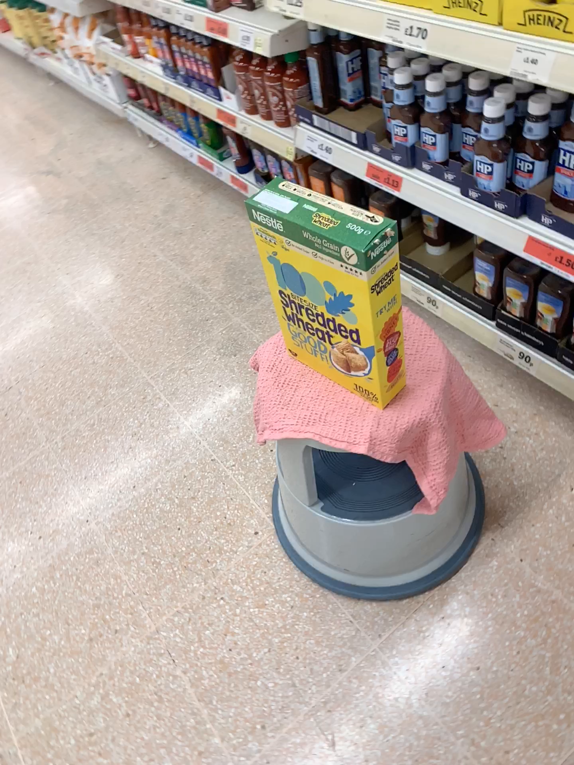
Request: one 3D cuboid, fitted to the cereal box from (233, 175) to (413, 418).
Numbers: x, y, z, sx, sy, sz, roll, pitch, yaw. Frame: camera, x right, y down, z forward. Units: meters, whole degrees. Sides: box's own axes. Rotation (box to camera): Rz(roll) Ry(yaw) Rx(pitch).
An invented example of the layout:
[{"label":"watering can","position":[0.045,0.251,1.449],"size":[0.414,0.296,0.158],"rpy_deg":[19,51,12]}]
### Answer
[{"label":"cereal box","position":[0.057,-0.110,0.787],"size":[0.070,0.278,0.211],"rpy_deg":[-41,52,-19]}]
